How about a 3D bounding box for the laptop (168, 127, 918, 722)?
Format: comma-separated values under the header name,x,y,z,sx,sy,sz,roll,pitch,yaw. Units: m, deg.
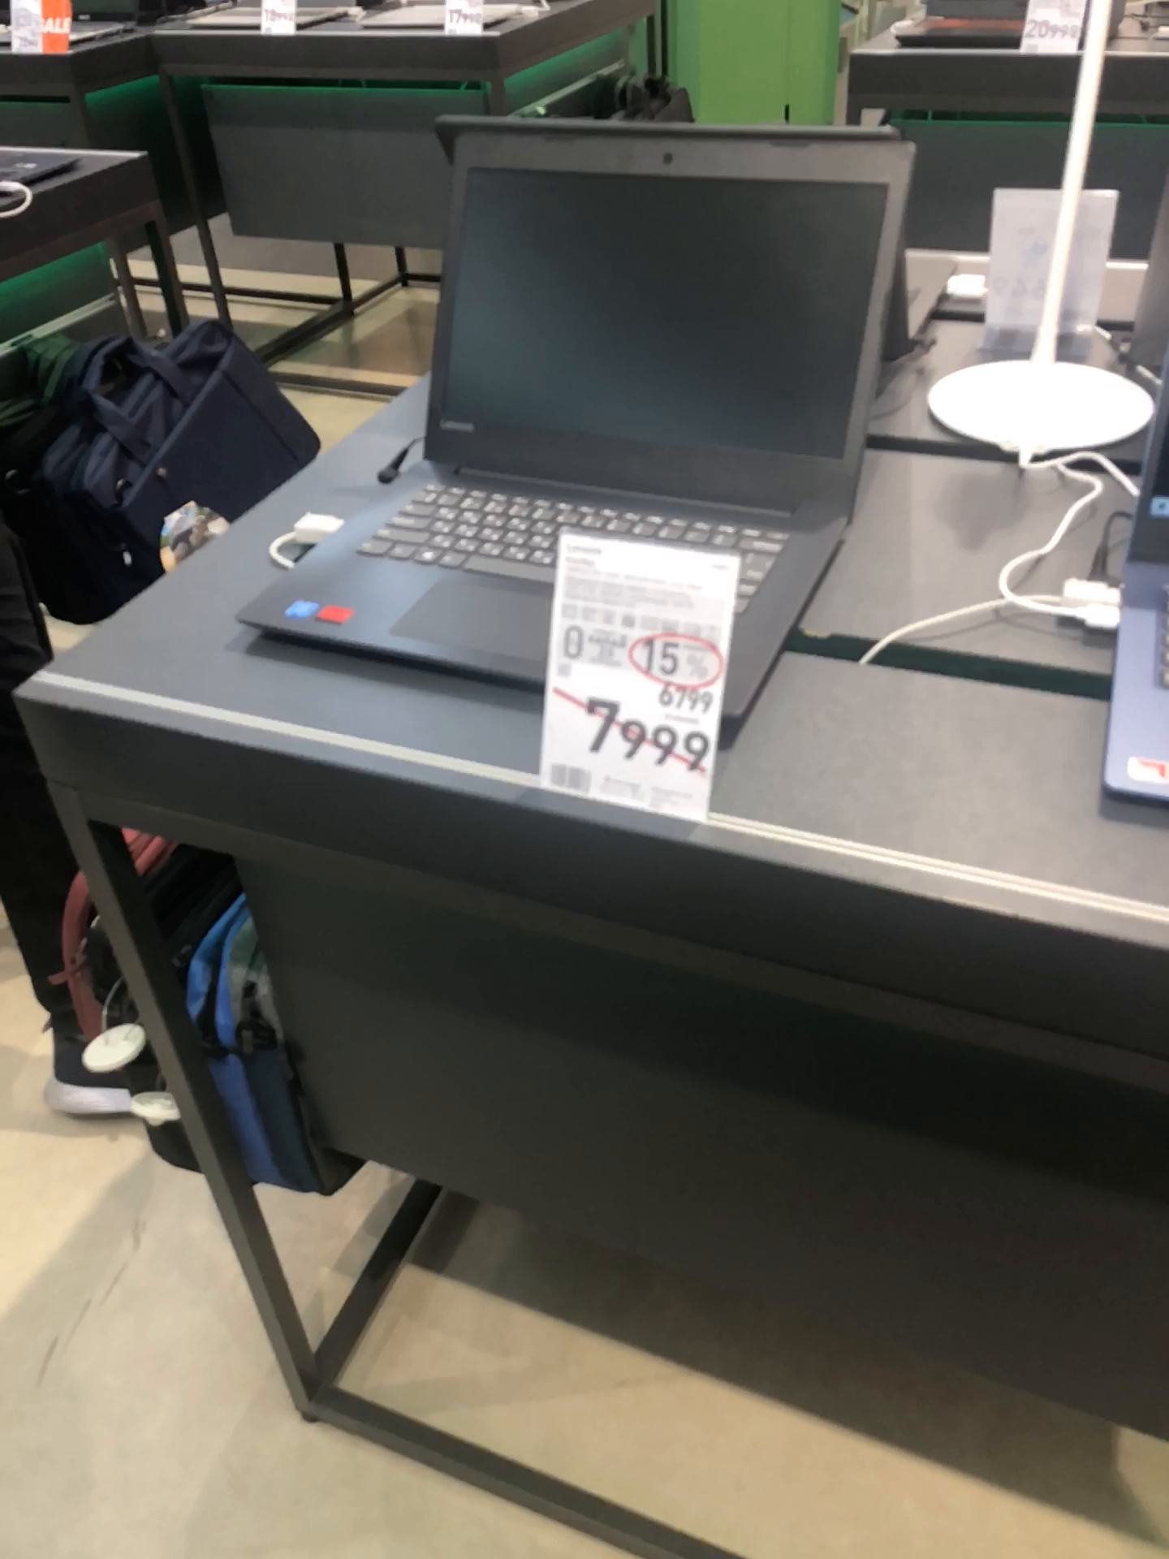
name,x,y,z,sx,sy,sz,roll,pitch,yaw
laptop,0.001,-0.258,0.822,0.330,0.205,0.362,12,42,20
